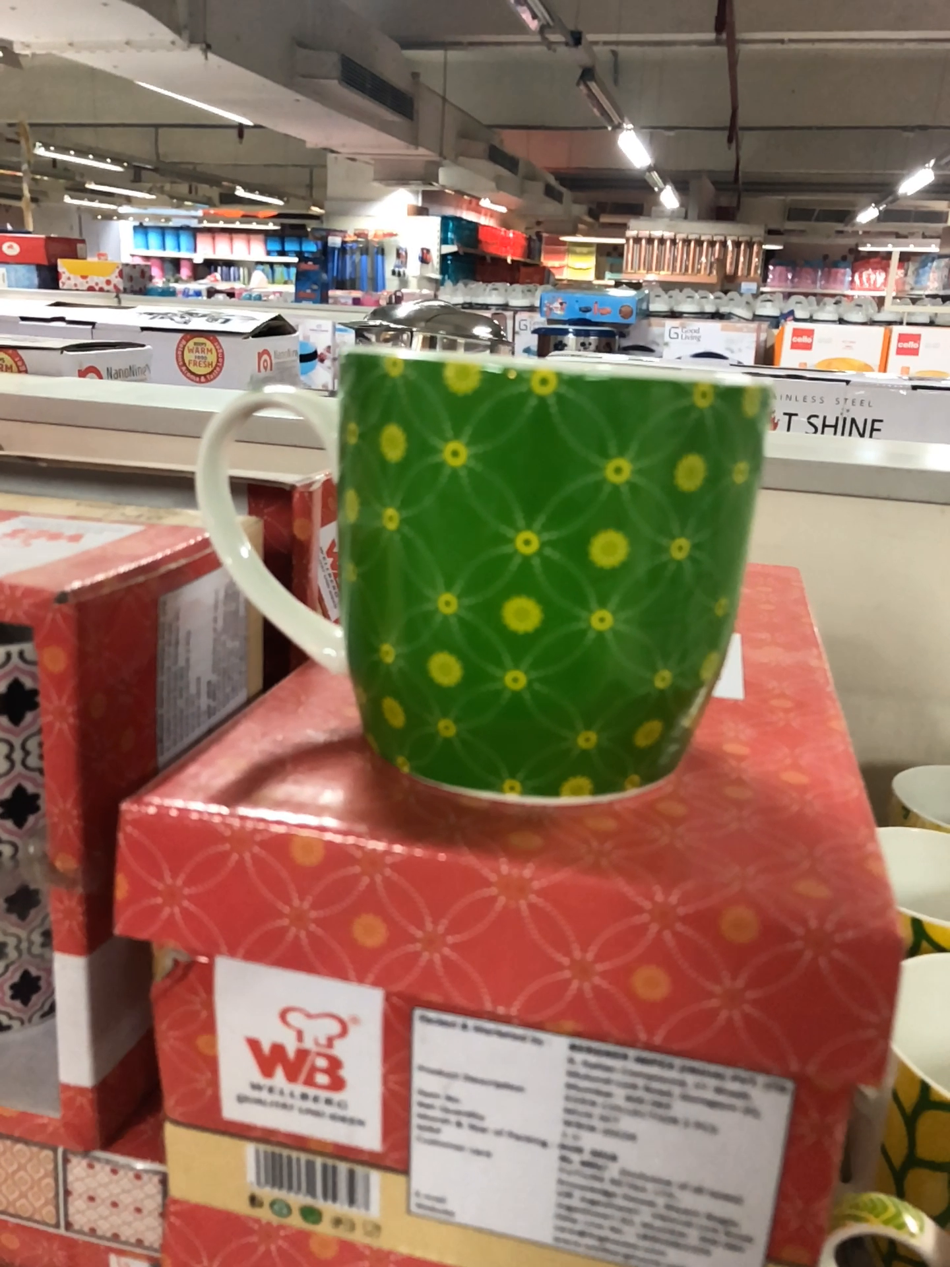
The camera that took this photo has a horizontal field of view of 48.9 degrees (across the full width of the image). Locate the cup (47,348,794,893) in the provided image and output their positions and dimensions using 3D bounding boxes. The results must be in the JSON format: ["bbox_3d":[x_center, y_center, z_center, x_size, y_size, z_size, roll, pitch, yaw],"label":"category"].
[{"bbox_3d":[-0.005,-0.014,0.215,0.120,0.080,0.090,6,16,12],"label":"cup"}]
